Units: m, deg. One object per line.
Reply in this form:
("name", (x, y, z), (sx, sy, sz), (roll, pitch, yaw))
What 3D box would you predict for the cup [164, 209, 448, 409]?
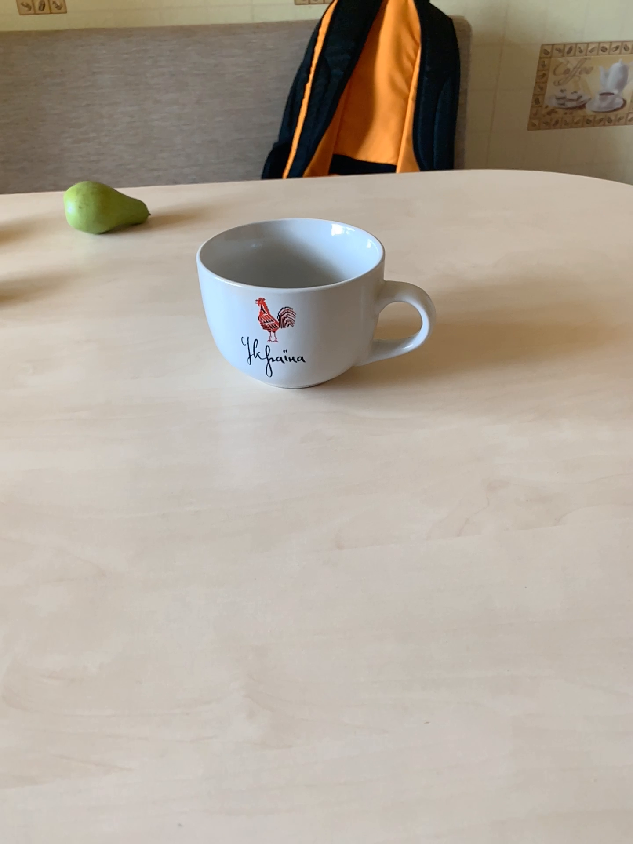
("cup", (0.000, -0.070, 0.370), (0.130, 0.060, 0.100), (9, 37, 14))
